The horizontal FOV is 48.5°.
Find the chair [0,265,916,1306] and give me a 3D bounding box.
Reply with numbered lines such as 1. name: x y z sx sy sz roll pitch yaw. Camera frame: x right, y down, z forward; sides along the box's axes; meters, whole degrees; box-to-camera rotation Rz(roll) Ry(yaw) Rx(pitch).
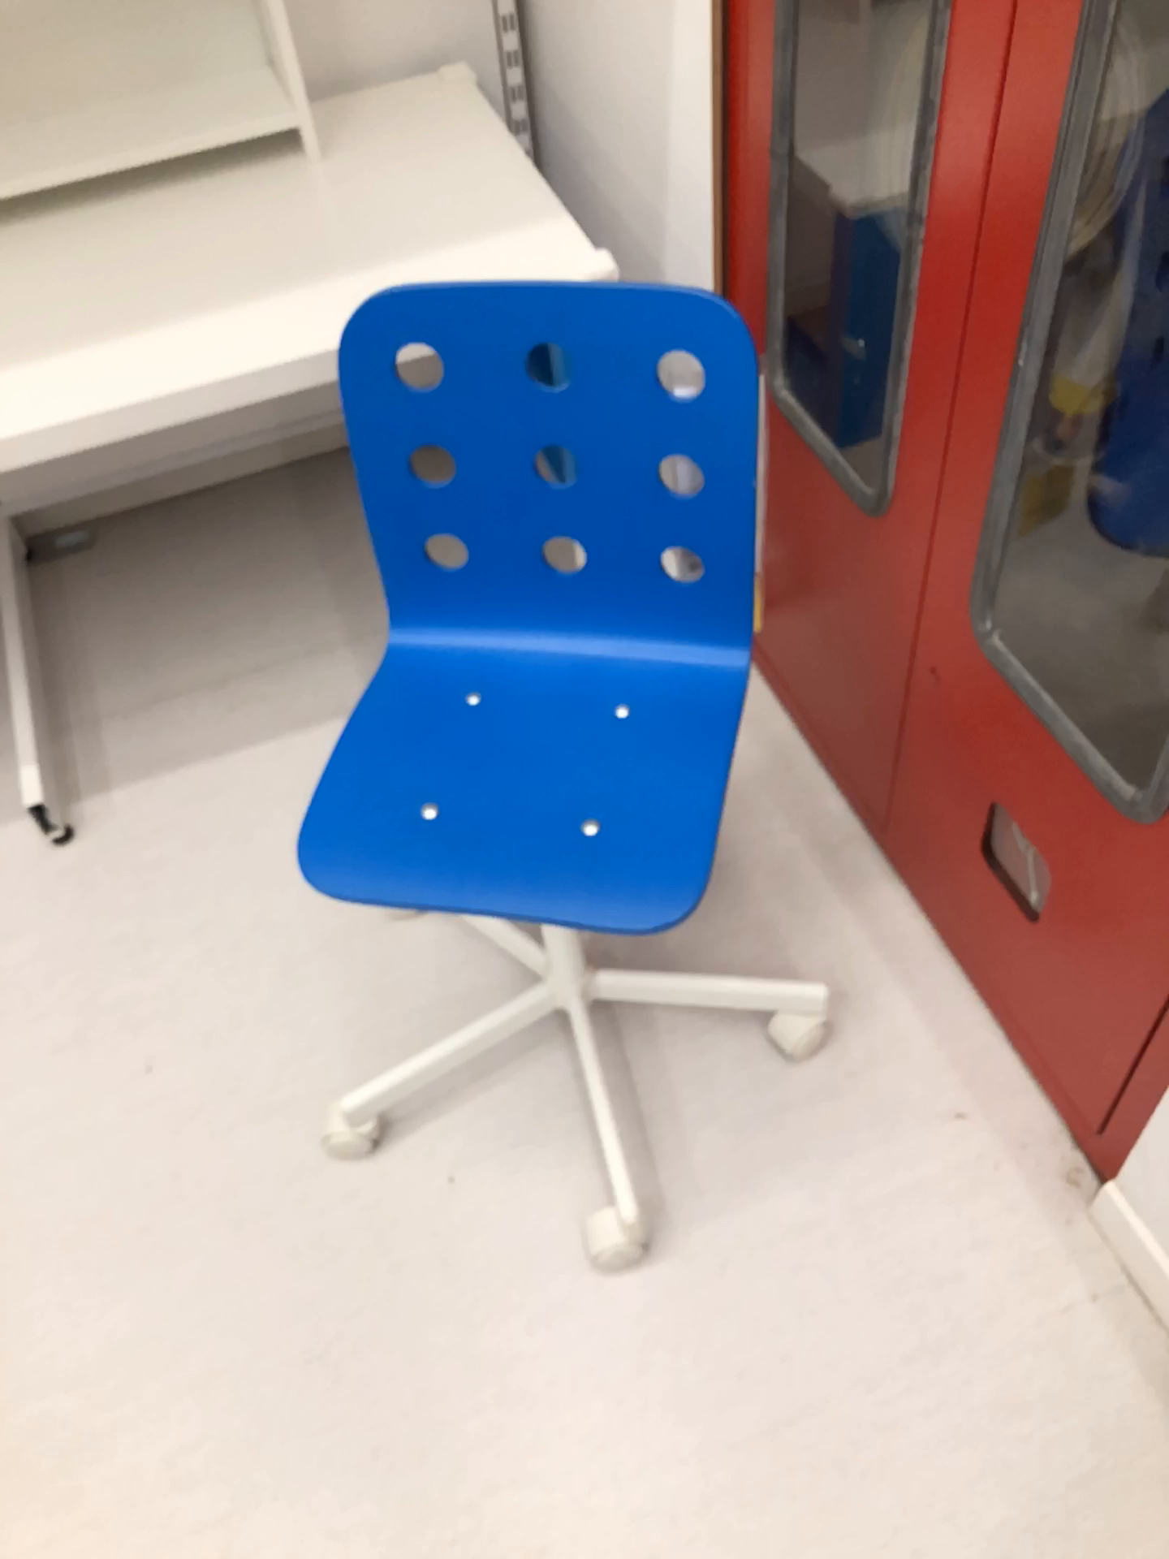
1. chair: -0.055 0.010 1.100 0.570 0.626 0.563 5 51 11
